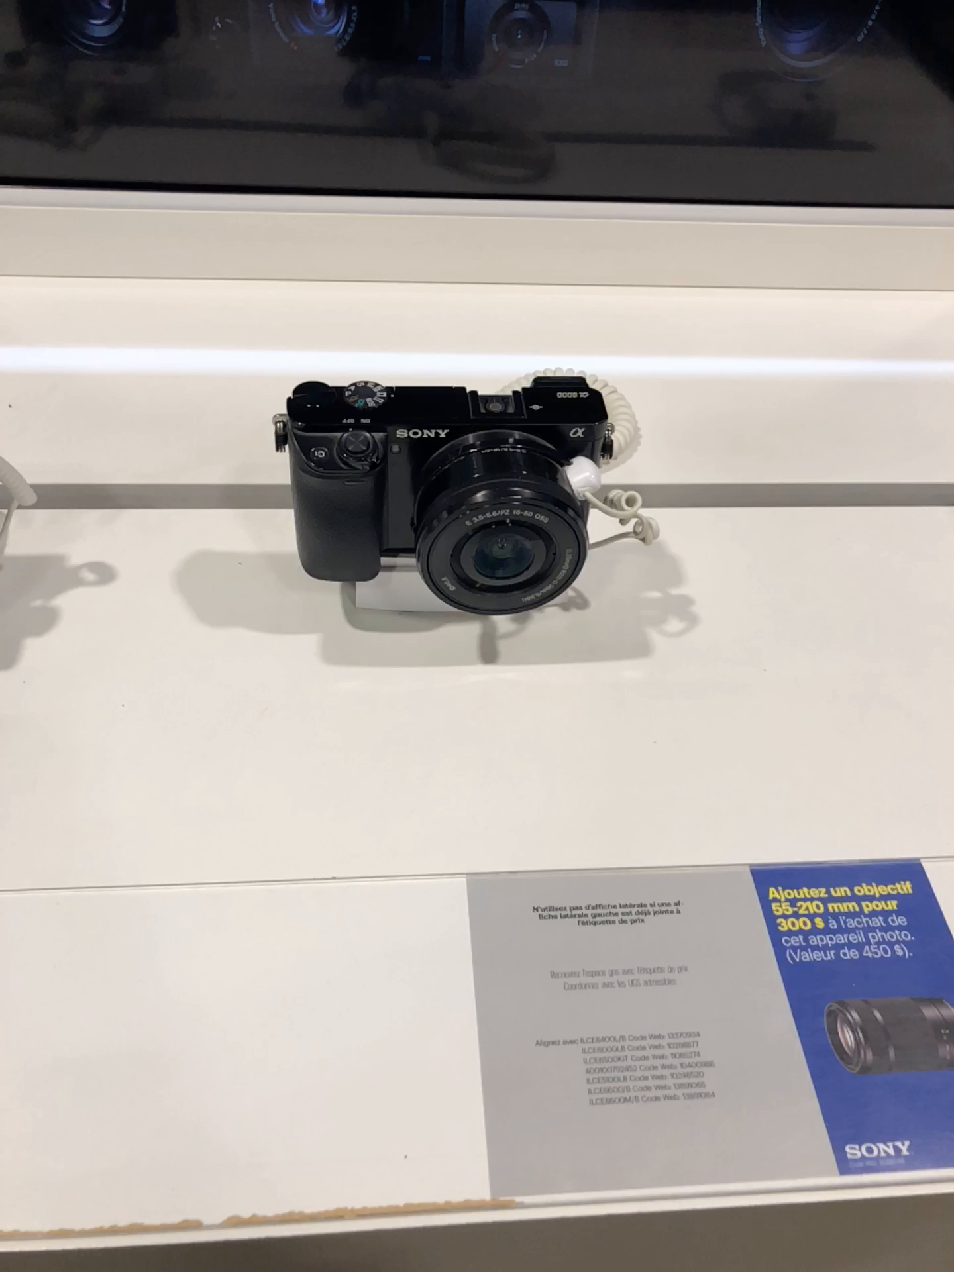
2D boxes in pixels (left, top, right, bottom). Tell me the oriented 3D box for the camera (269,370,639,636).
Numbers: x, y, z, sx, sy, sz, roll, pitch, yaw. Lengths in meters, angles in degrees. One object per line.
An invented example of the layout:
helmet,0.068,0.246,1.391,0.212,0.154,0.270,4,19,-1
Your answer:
camera,-0.012,-0.053,0.419,0.130,0.077,0.065,-3,46,-6
